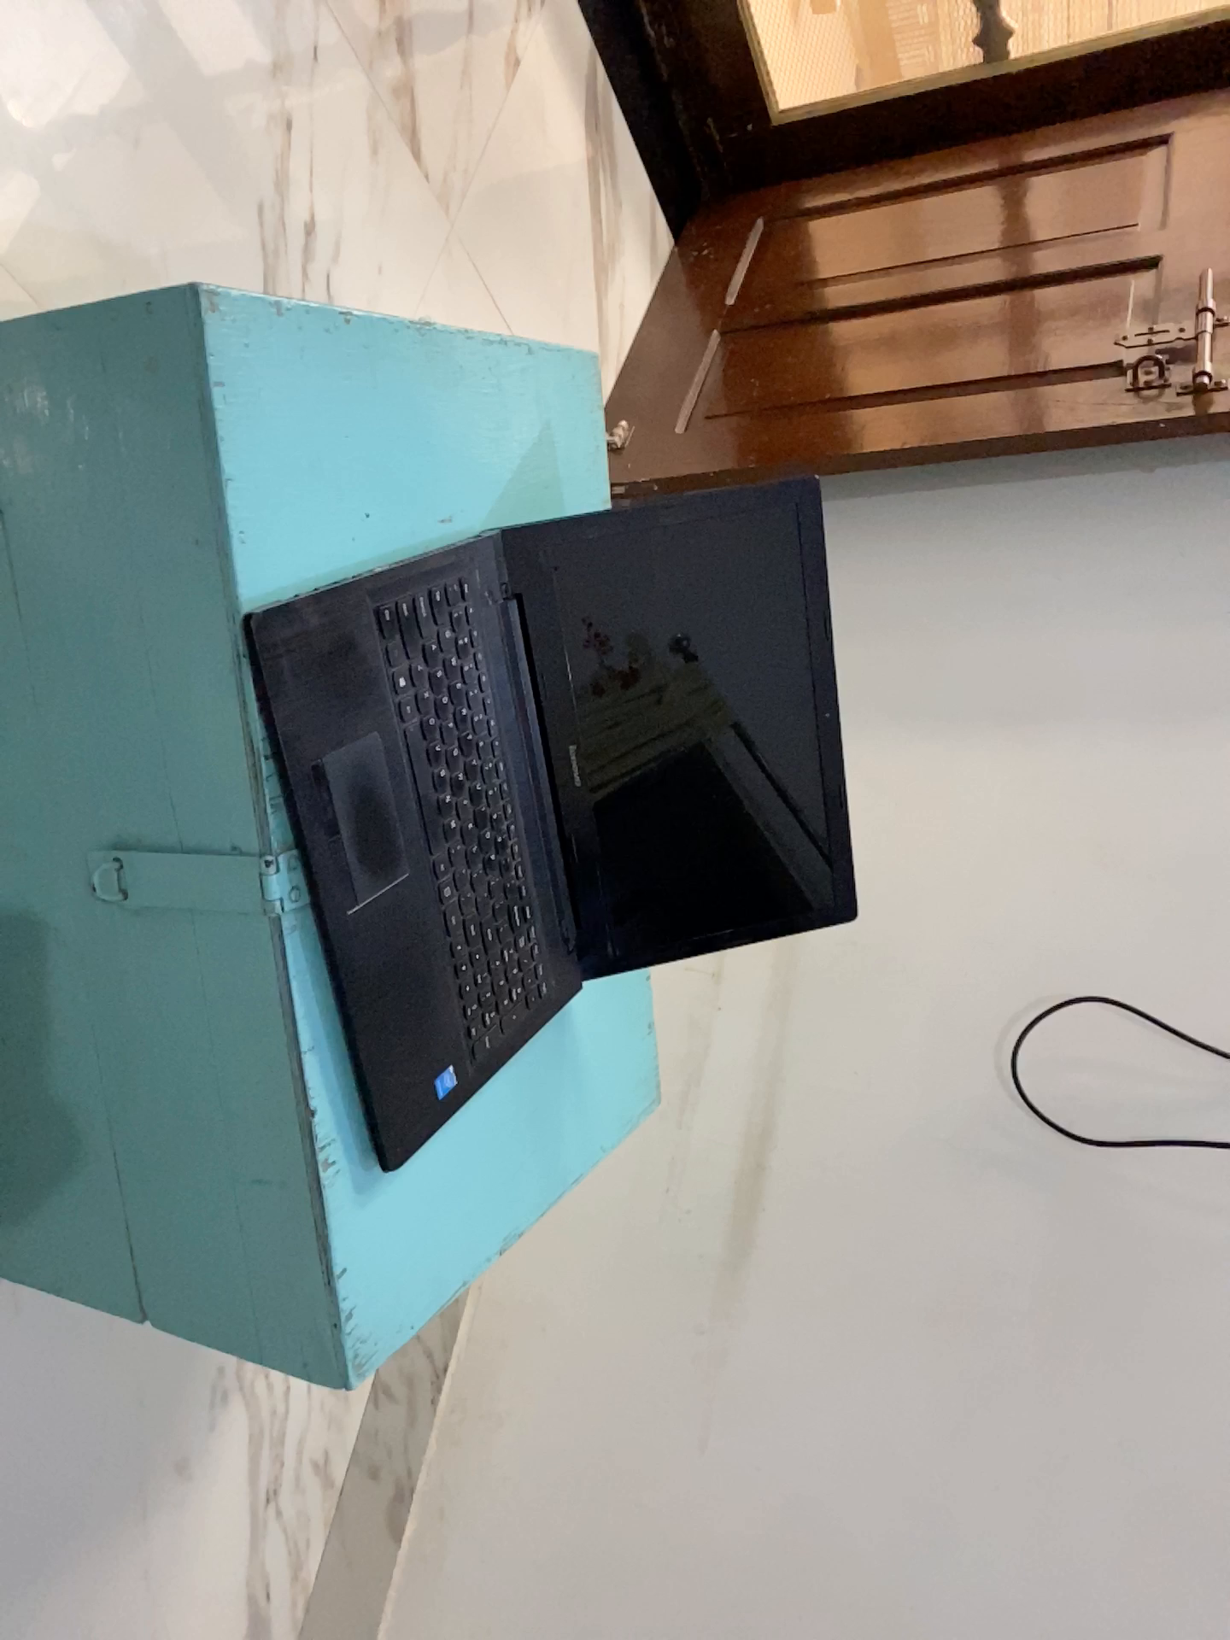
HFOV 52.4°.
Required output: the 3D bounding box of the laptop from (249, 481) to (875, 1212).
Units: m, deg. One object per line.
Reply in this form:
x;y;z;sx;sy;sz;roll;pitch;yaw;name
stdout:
0.010;-0.015;0.897;0.425;0.190;0.371;-38;124;-54;laptop
